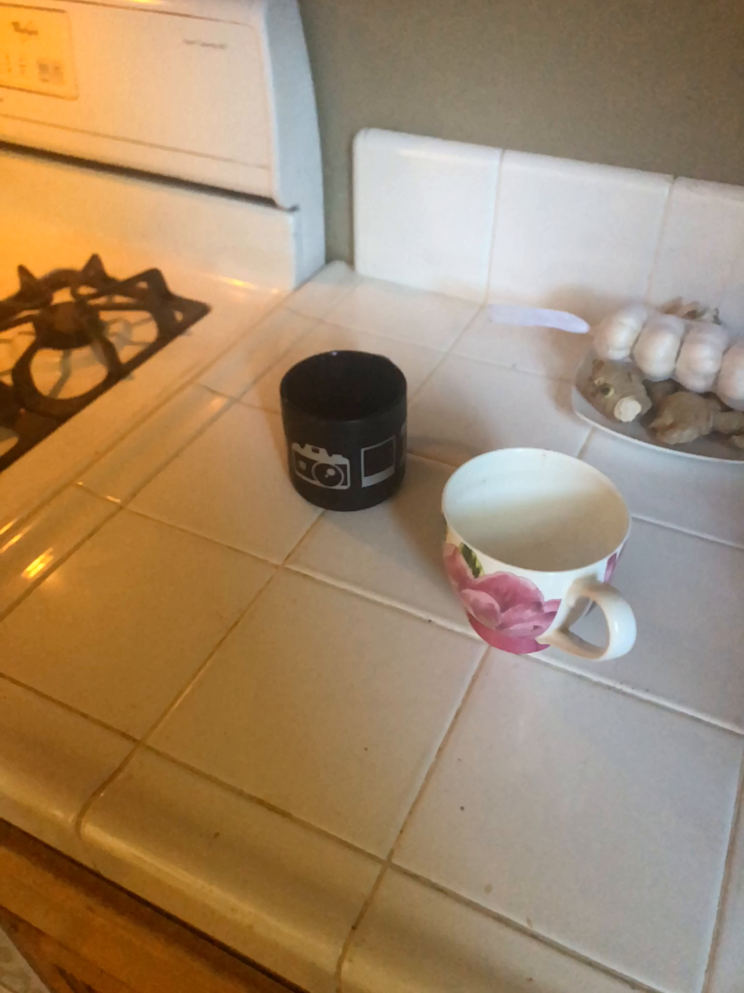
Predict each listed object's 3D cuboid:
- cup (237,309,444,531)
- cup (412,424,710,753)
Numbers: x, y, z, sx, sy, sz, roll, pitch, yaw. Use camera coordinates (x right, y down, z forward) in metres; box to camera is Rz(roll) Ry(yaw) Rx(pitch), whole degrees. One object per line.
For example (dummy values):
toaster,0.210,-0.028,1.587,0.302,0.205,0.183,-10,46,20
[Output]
cup,-0.018,-0.062,0.612,0.100,0.079,0.141,14,44,16
cup,0.097,0.046,0.479,0.100,0.089,0.151,-12,43,-13
